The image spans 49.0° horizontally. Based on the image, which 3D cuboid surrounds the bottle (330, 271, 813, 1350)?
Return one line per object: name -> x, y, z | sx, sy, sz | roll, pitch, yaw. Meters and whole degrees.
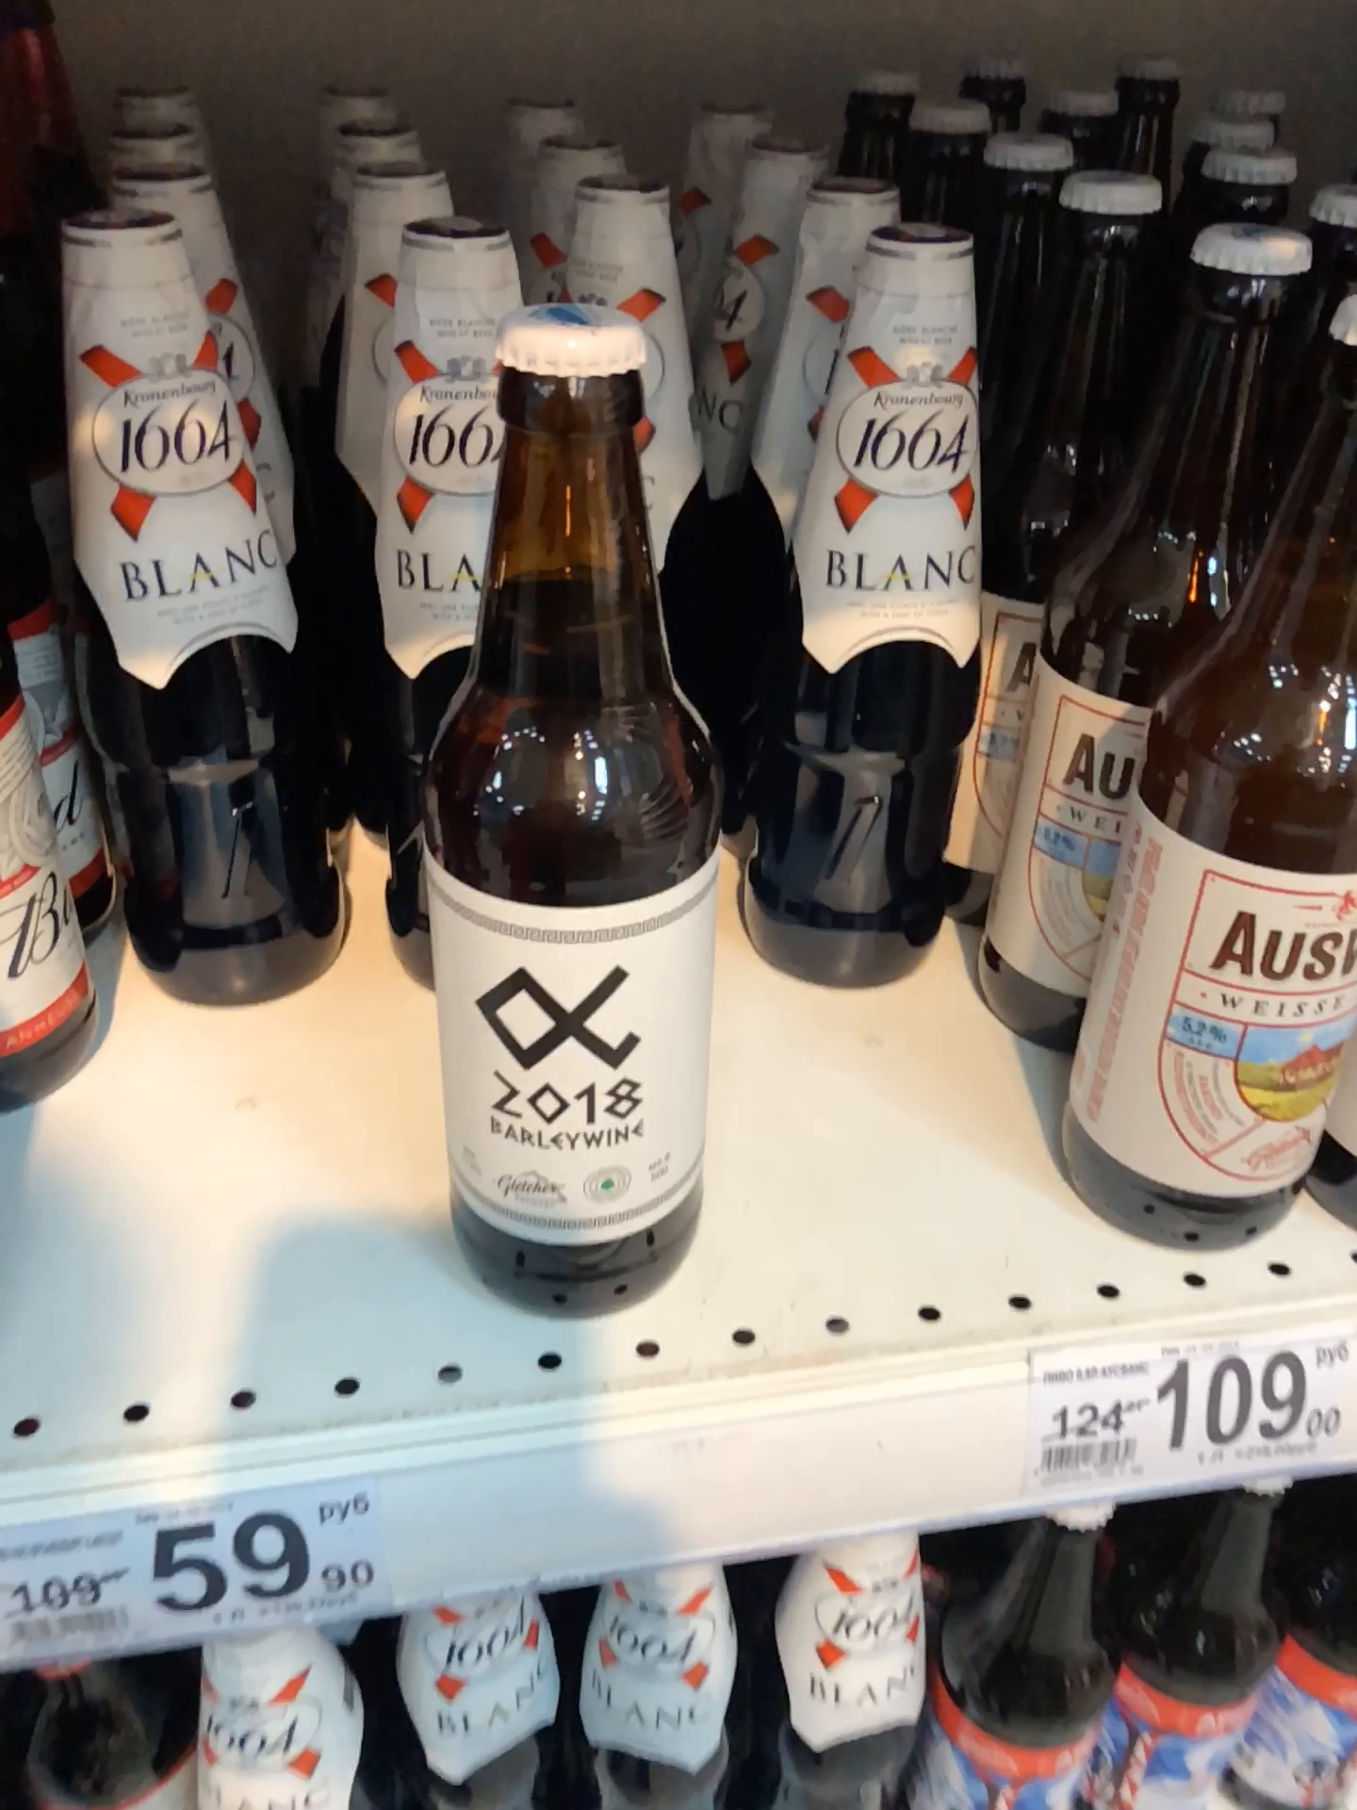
bottle -> -0.022, -0.006, 0.349 | 0.080, 0.252, 0.070 | 0, 36, -3
